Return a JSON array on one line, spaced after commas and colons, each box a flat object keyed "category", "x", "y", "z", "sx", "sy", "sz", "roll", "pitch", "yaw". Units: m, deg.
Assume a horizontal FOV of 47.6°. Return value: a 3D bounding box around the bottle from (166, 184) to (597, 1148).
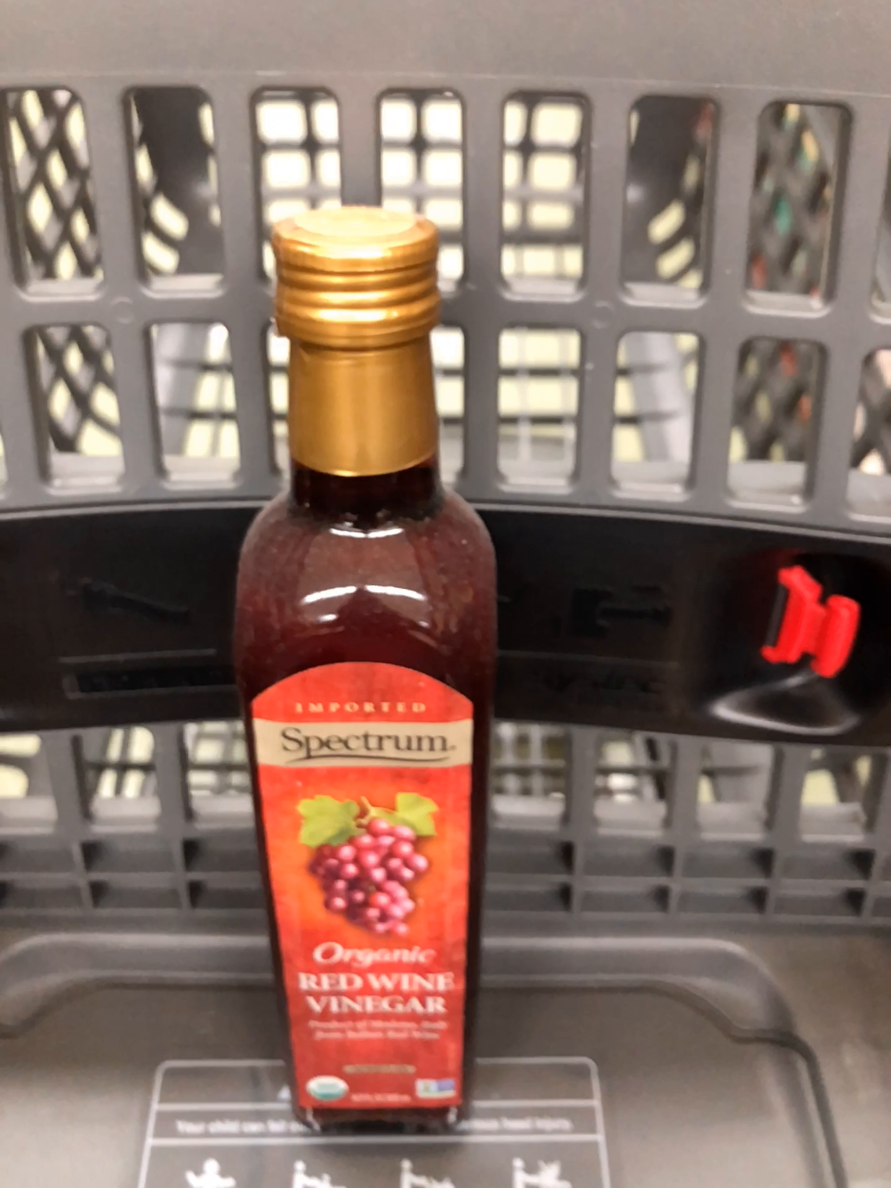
[{"category": "bottle", "x": -0.013, "y": 0.042, "z": 0.269, "sx": 0.070, "sy": 0.270, "sz": 0.070, "roll": 1, "pitch": 34, "yaw": 0}]
